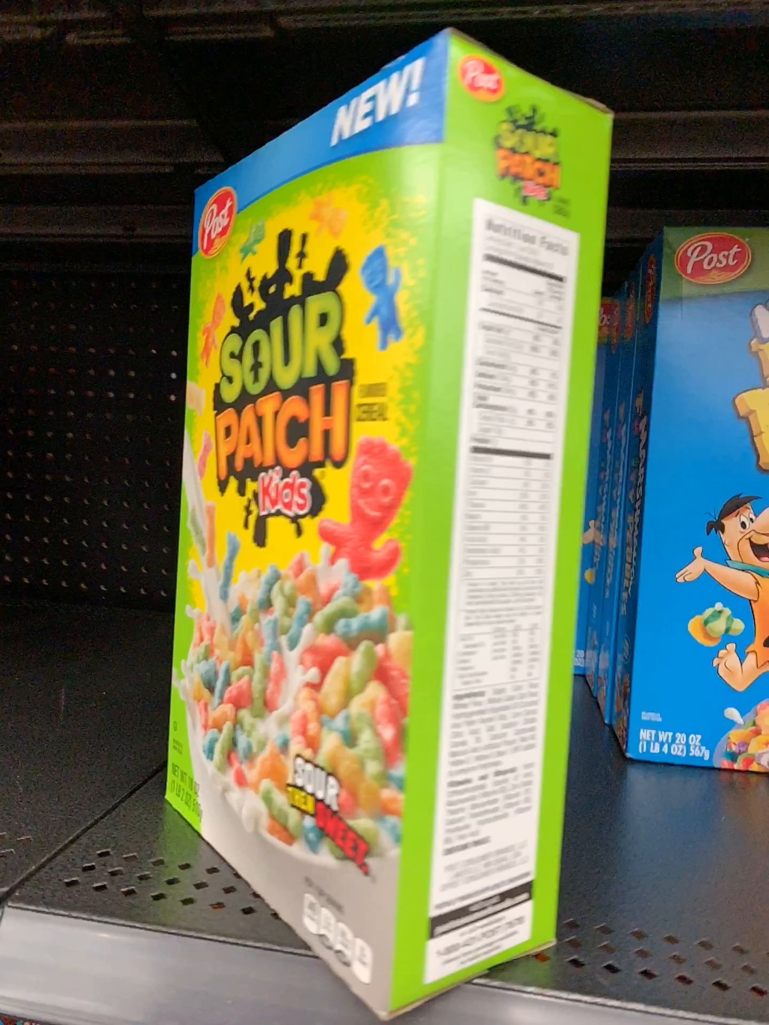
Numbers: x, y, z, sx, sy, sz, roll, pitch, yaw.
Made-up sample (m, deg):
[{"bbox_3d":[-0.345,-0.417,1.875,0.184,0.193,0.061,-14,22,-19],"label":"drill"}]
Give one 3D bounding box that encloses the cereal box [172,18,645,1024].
[{"bbox_3d":[-0.008,0.003,0.341,0.080,0.310,0.200,2,3,-36],"label":"cereal box"}]
